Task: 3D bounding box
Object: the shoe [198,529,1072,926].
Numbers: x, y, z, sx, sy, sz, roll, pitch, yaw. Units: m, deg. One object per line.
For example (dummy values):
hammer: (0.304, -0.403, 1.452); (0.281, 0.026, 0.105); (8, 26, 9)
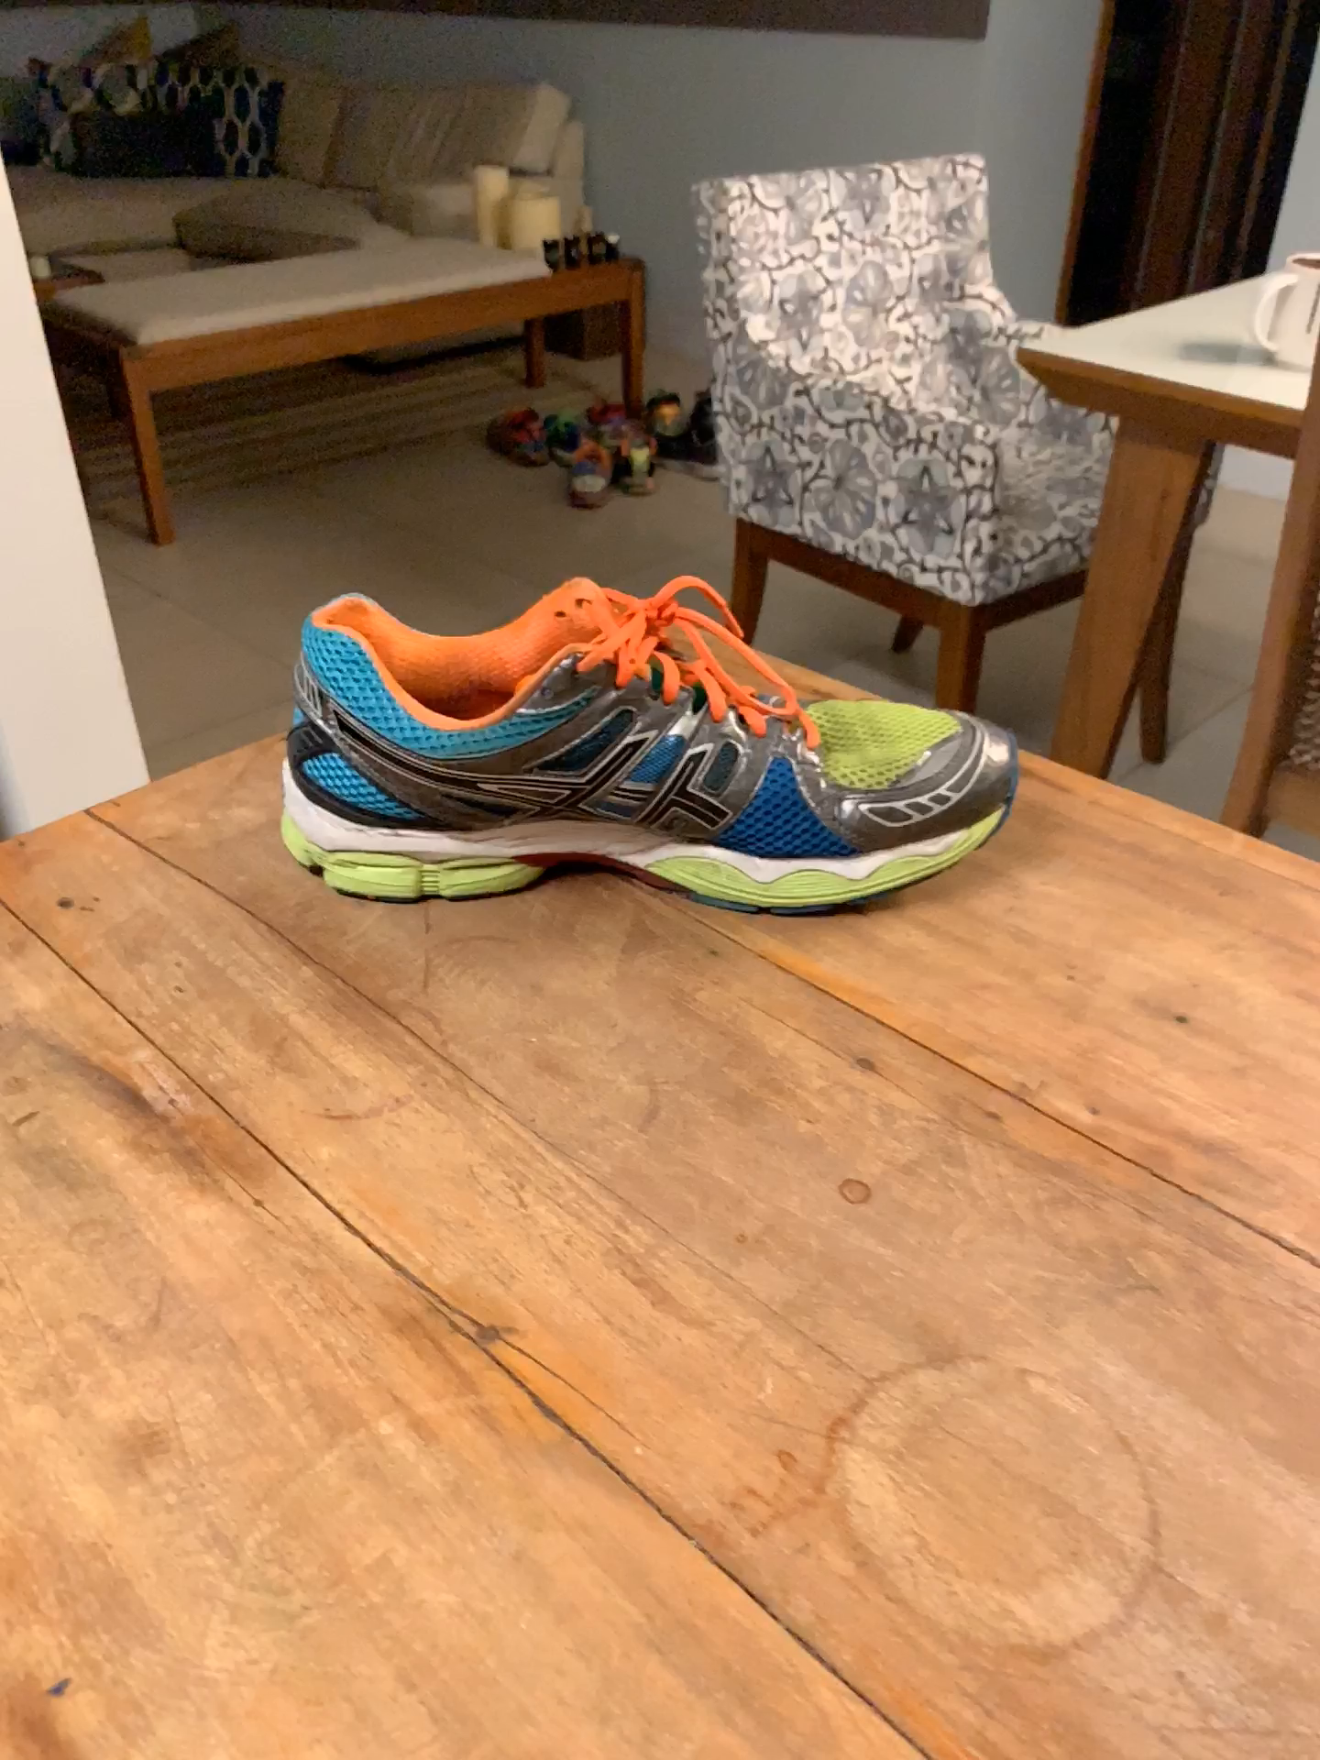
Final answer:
shoe: (-0.009, -0.065, 0.549); (0.301, 0.109, 0.126); (-1, 34, -2)
